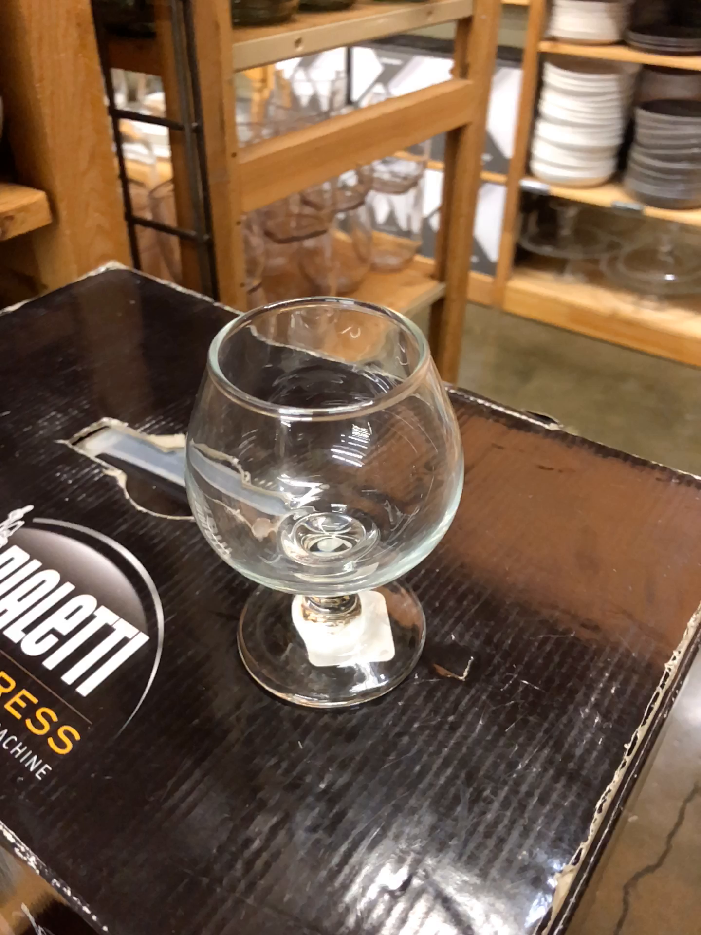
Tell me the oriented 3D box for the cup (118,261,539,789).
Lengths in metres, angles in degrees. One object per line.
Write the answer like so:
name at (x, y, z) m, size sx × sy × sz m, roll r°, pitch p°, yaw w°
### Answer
cup at (-0.006, 0.013, 0.216) m, size 0.072 × 0.106 × 0.069 m, roll 1°, pitch 36°, yaw -1°
